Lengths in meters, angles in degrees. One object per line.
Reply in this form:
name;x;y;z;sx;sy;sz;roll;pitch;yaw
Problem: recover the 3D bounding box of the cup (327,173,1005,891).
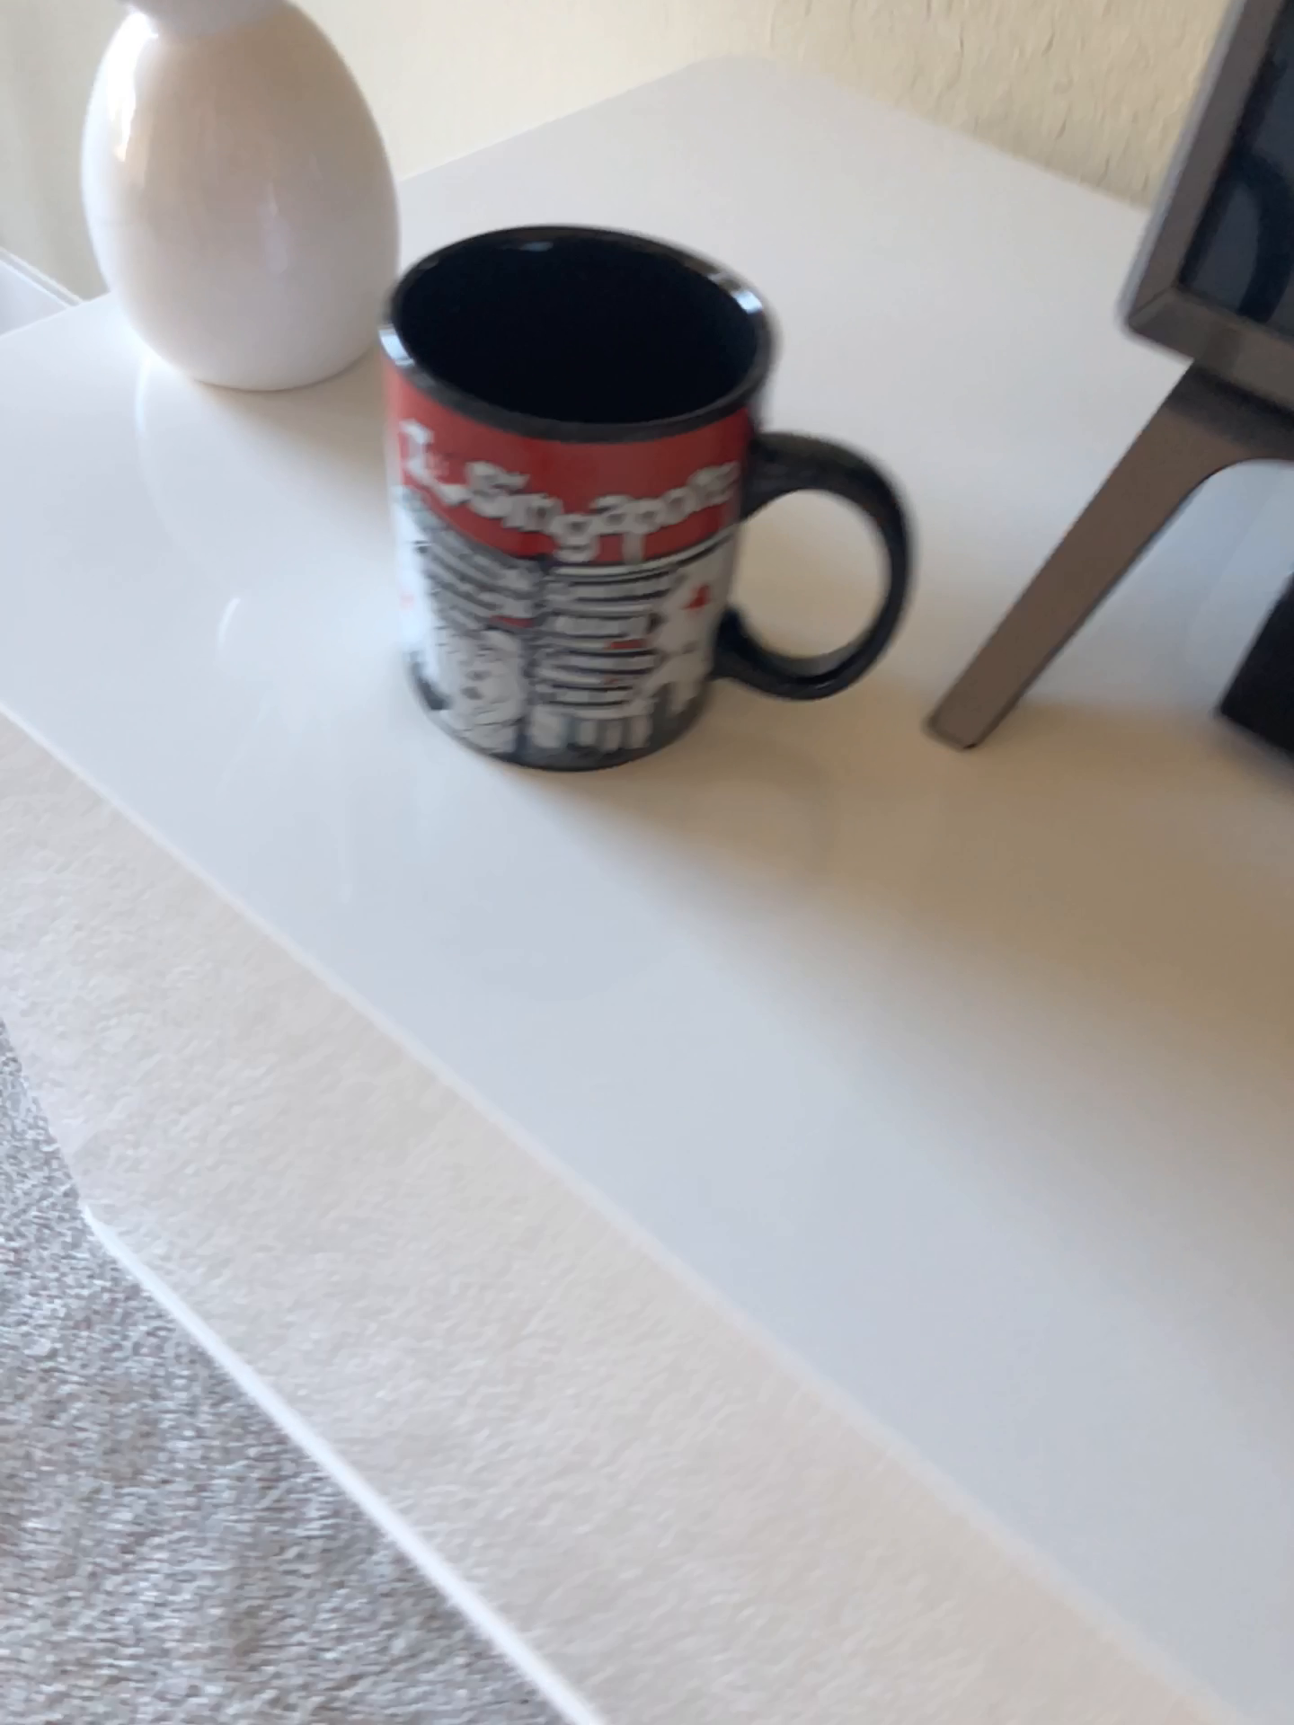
cup;0.003;-0.075;0.333;0.120;0.110;0.080;18;50;8
